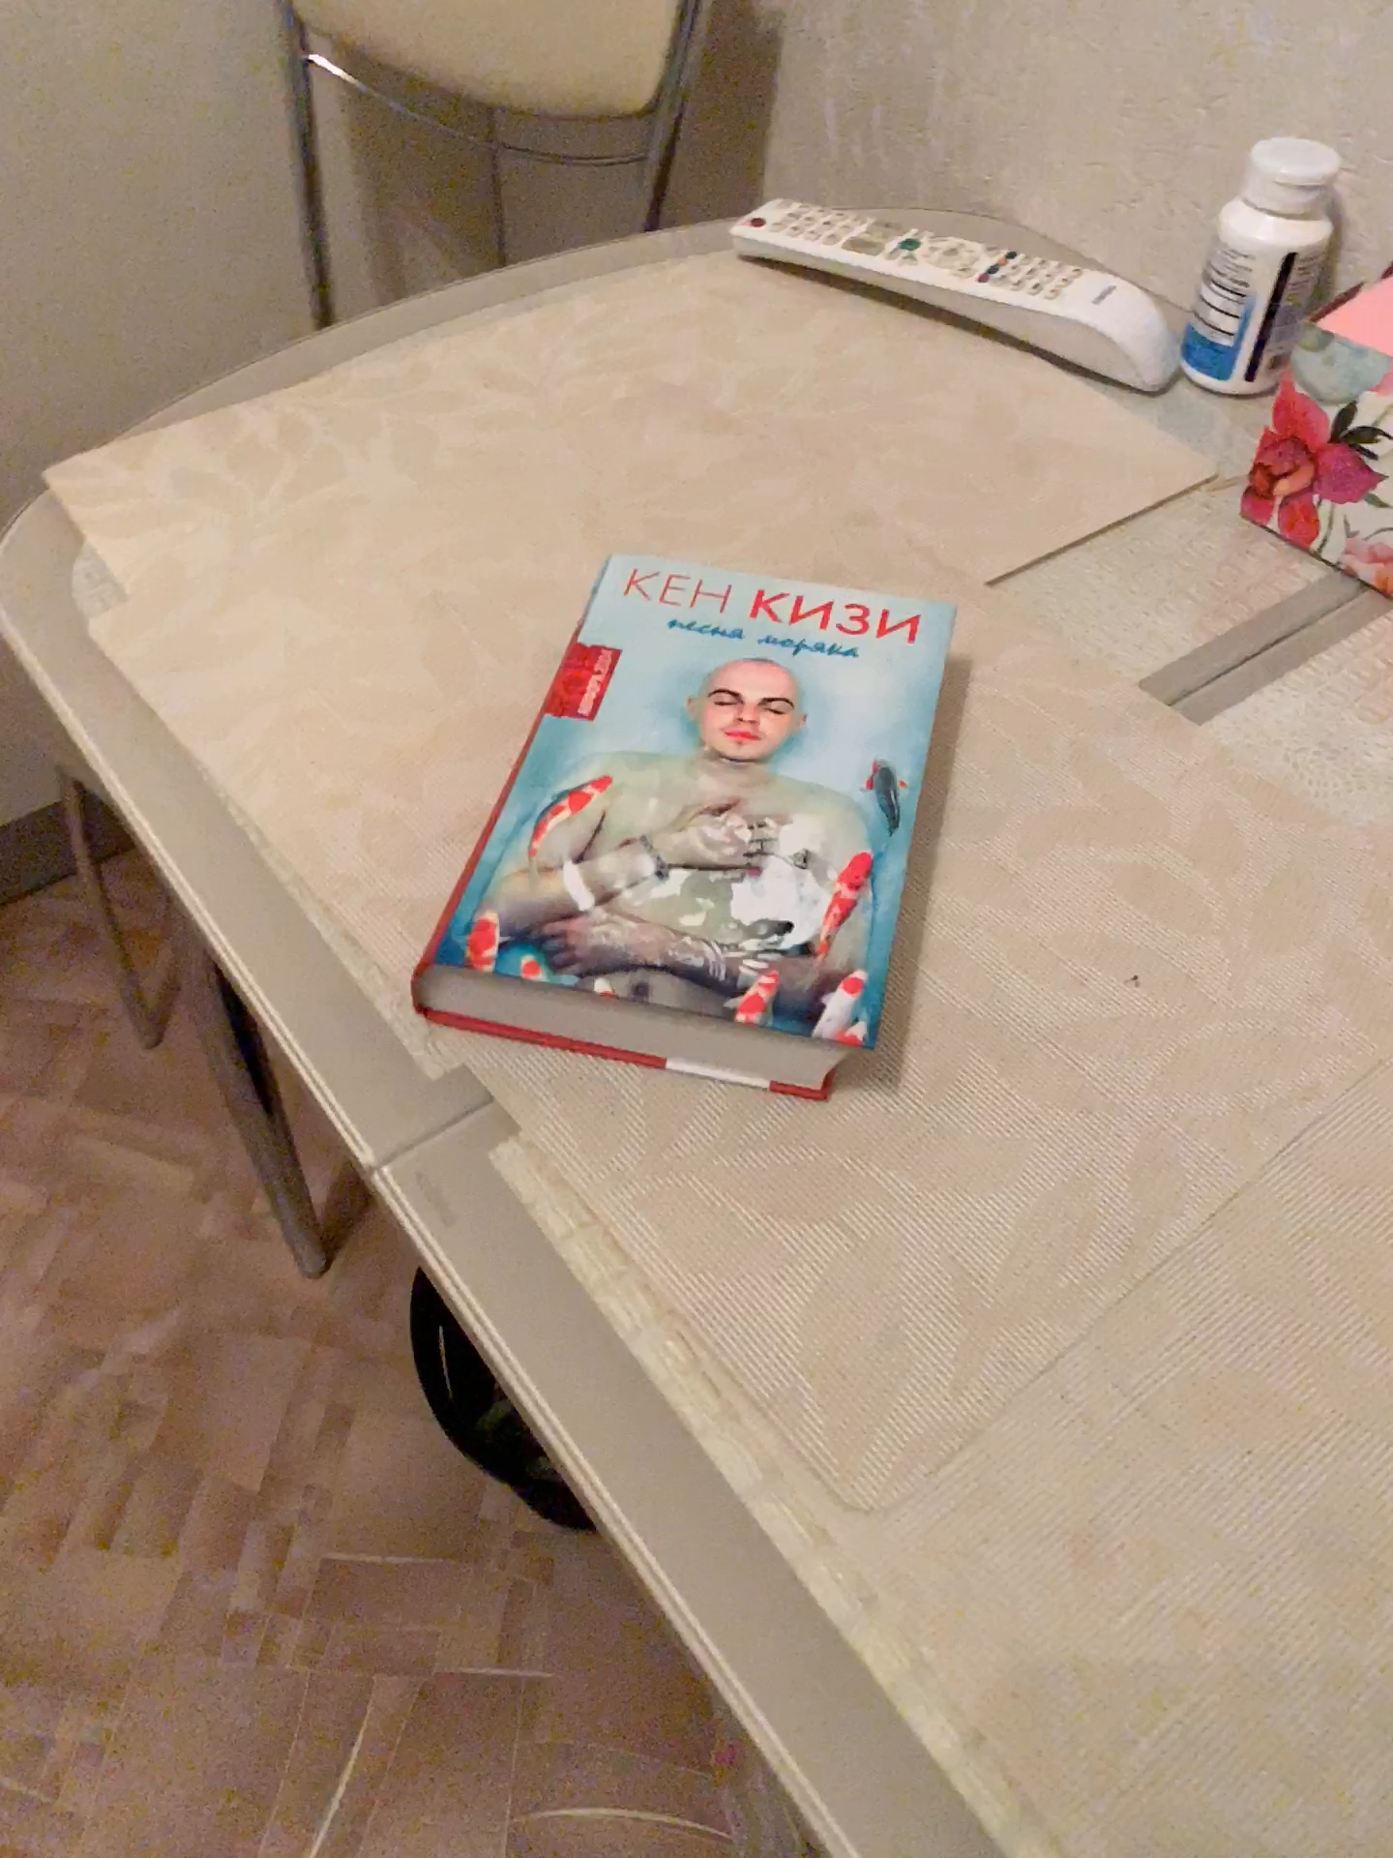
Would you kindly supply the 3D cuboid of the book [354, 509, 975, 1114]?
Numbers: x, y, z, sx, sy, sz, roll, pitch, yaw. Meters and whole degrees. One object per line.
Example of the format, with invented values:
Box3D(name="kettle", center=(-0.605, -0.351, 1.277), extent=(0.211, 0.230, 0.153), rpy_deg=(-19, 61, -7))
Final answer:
Box3D(name="book", center=(0.002, -0.052, 0.467), extent=(0.150, 0.040, 0.212), rpy_deg=(11, 50, 8))
